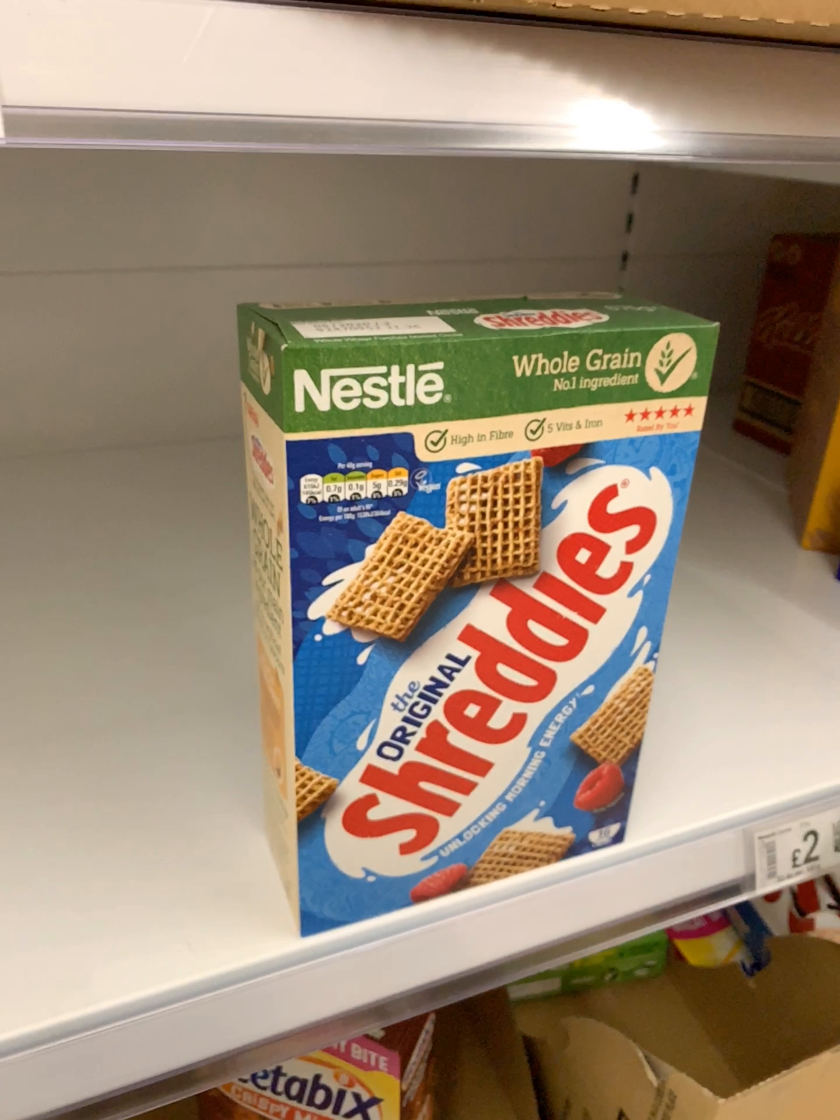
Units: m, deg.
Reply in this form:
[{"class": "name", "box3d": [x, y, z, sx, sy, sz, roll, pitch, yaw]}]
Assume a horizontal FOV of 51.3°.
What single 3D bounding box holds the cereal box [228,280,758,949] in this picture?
[{"class": "cereal box", "box3d": [0.024, 0.025, 0.419, 0.200, 0.287, 0.081, -8, 29, -21]}]
